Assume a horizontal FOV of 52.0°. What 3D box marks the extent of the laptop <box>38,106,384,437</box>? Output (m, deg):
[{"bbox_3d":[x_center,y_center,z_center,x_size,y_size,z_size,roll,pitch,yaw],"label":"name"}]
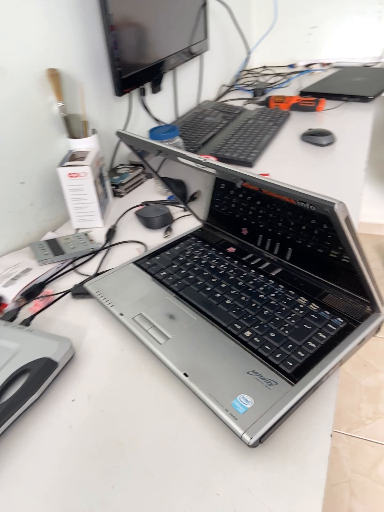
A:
[{"bbox_3d":[0.026,-0.030,0.479,0.236,0.211,0.338,-28,39,-30],"label":"laptop"}]
